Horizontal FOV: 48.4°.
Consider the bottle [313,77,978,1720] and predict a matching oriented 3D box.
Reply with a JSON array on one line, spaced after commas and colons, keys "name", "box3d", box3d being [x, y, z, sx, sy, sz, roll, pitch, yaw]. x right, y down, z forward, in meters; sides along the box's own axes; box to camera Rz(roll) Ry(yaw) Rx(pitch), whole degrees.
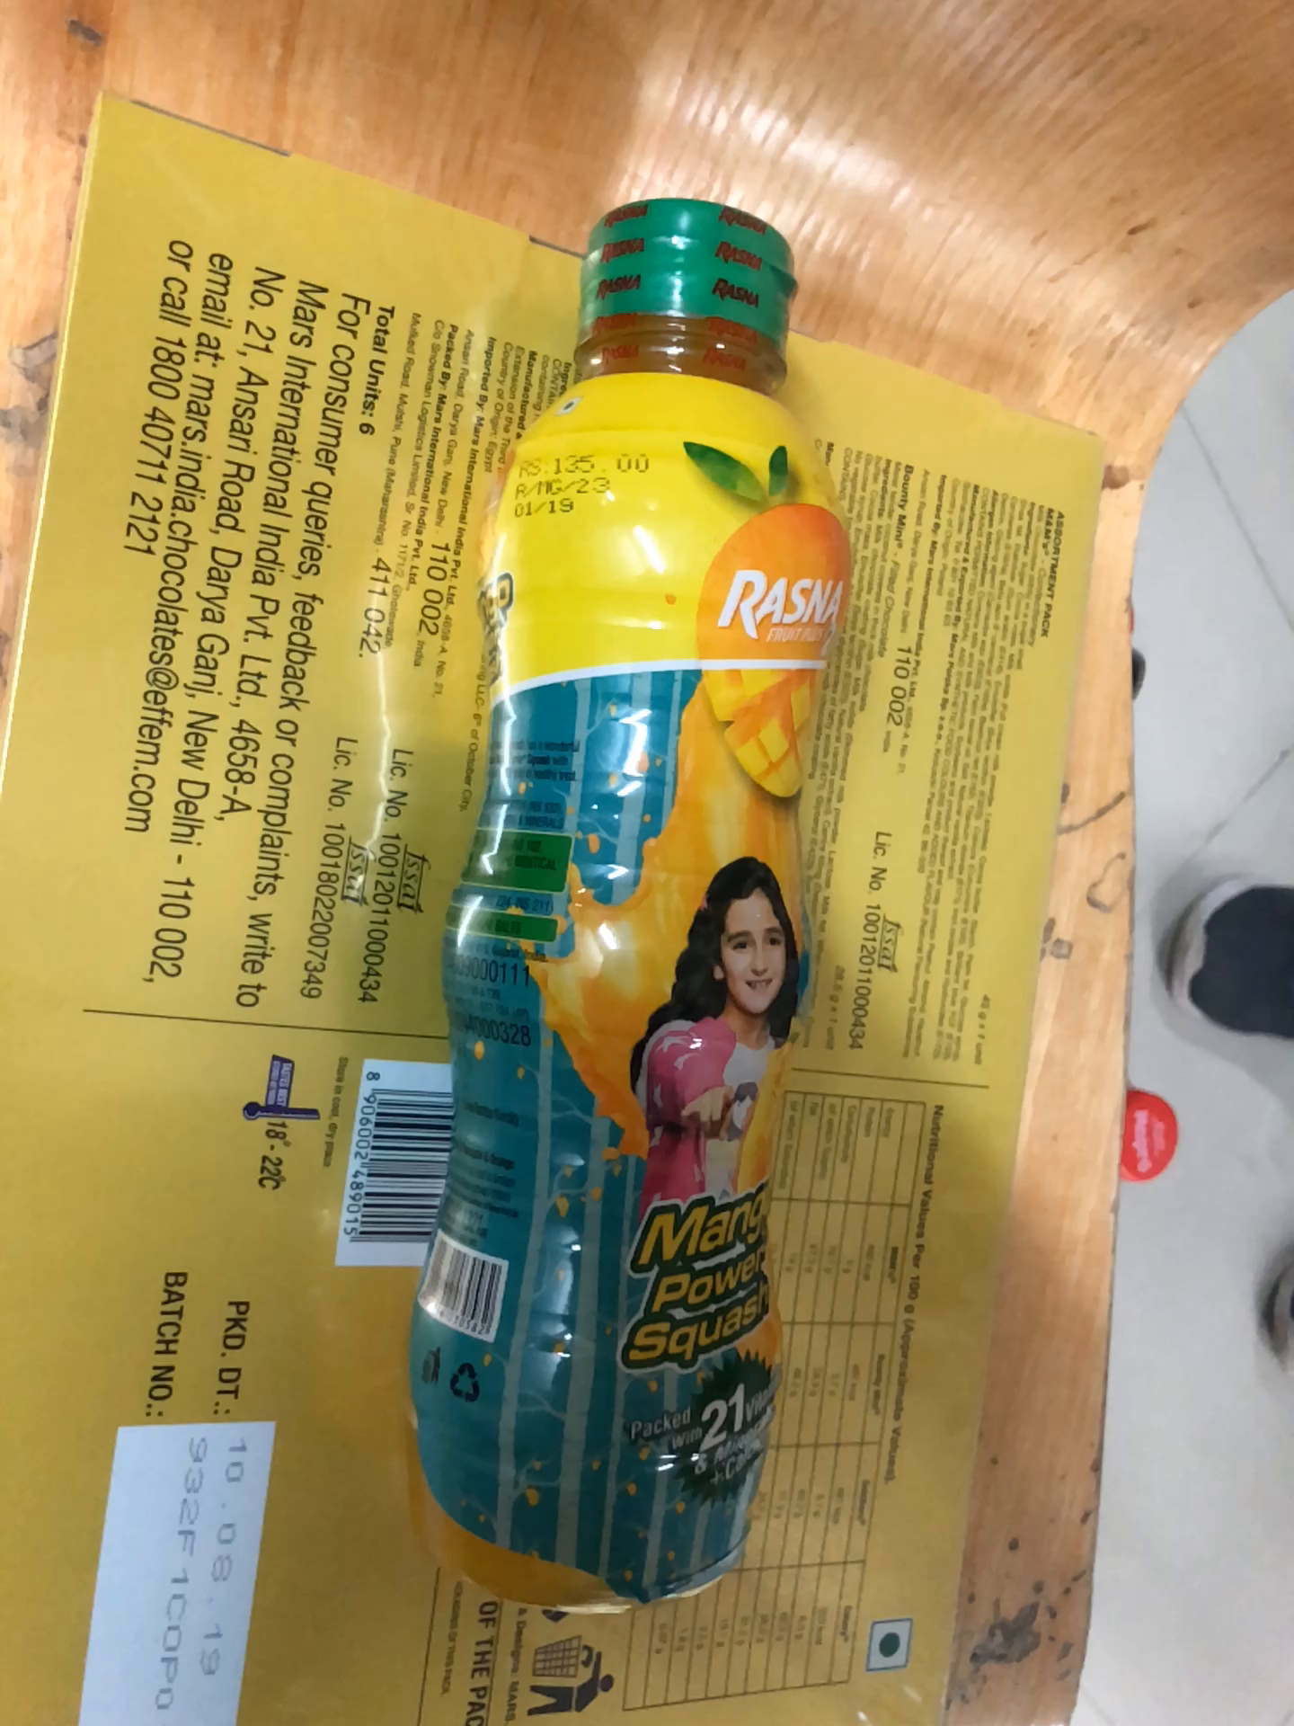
[{"name": "bottle", "box3d": [0.003, 0.007, 0.272, 0.080, 0.050, 0.260, 8, 89, -45]}]
